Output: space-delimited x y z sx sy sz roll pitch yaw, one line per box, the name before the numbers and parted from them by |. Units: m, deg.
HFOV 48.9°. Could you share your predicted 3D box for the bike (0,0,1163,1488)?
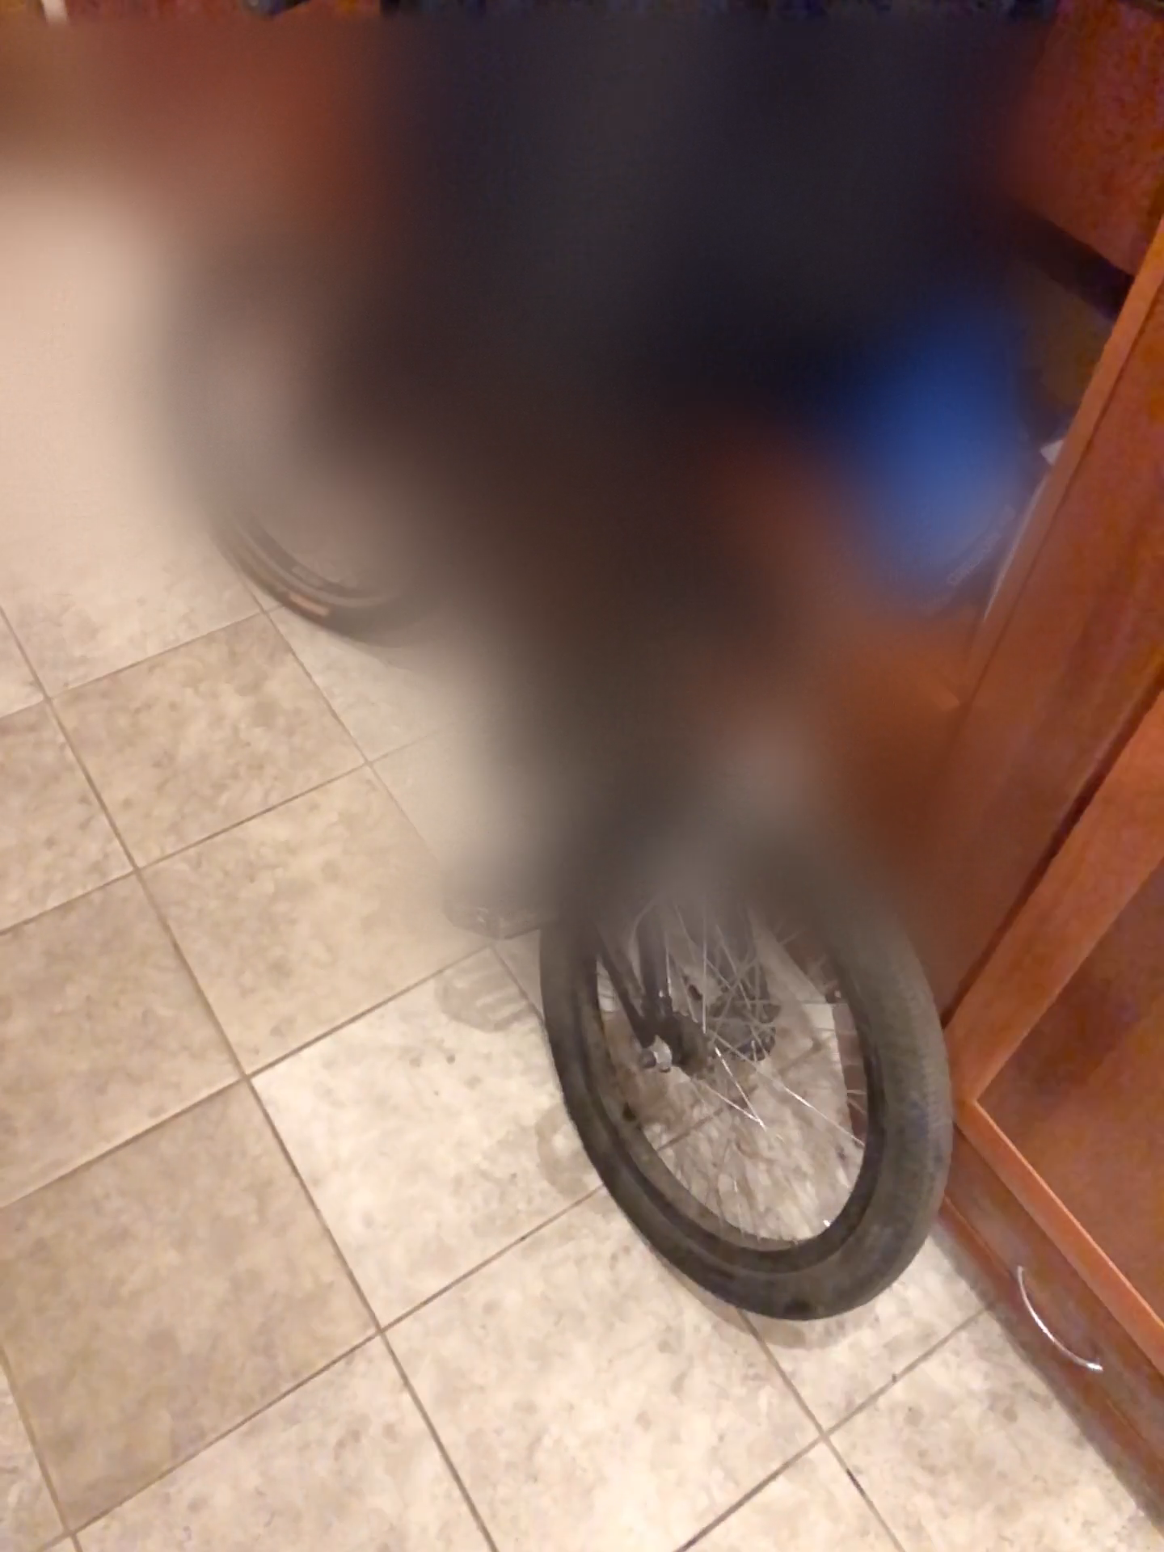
bike | -0.062 -0.223 1.151 0.527 0.854 1.357 -24 61 -19
